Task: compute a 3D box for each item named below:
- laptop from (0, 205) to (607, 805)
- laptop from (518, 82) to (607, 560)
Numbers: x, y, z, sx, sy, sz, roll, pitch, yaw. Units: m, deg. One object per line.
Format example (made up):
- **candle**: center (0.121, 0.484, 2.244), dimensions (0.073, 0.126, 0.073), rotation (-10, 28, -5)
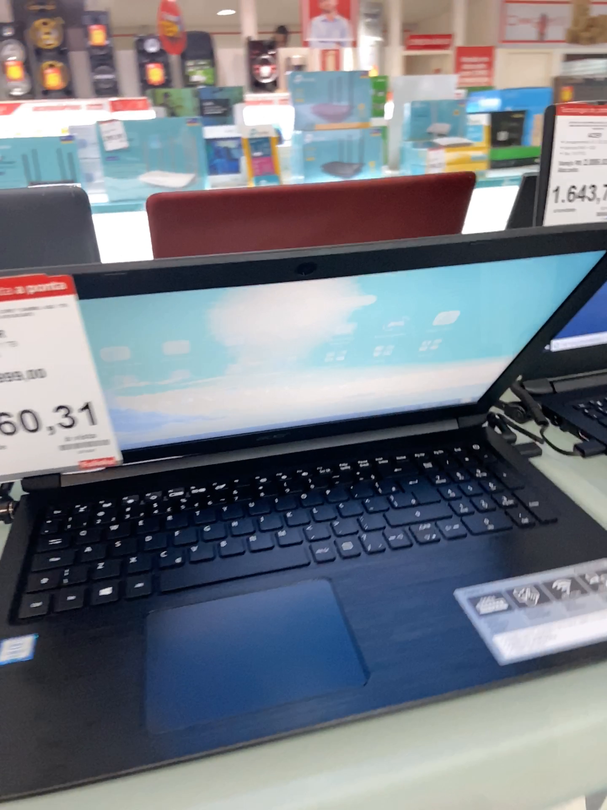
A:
- **laptop**: center (-0.003, 0.009, 0.358), dimensions (0.373, 0.186, 0.235), rotation (-7, 24, -10)
- **laptop**: center (0.443, -0.114, 0.505), dimensions (0.431, 0.246, 0.286), rotation (-9, 25, -15)
